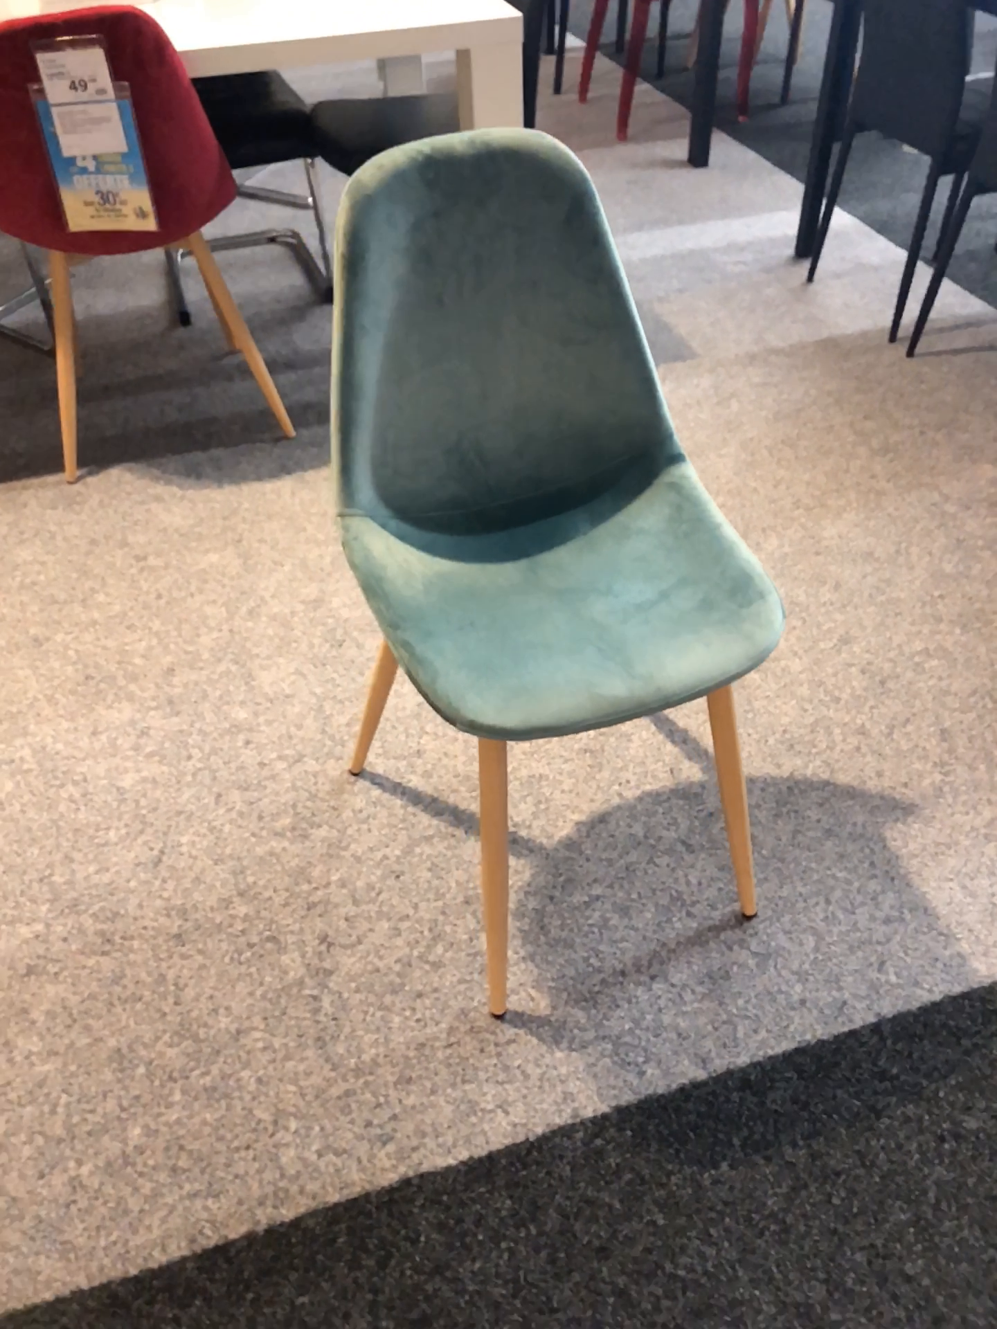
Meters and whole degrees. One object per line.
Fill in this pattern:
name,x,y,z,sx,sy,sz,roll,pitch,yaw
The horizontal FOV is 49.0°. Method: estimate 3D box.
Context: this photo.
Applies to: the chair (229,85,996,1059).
chair,0.069,-0.097,1.226,0.471,0.835,0.552,-17,43,-16
